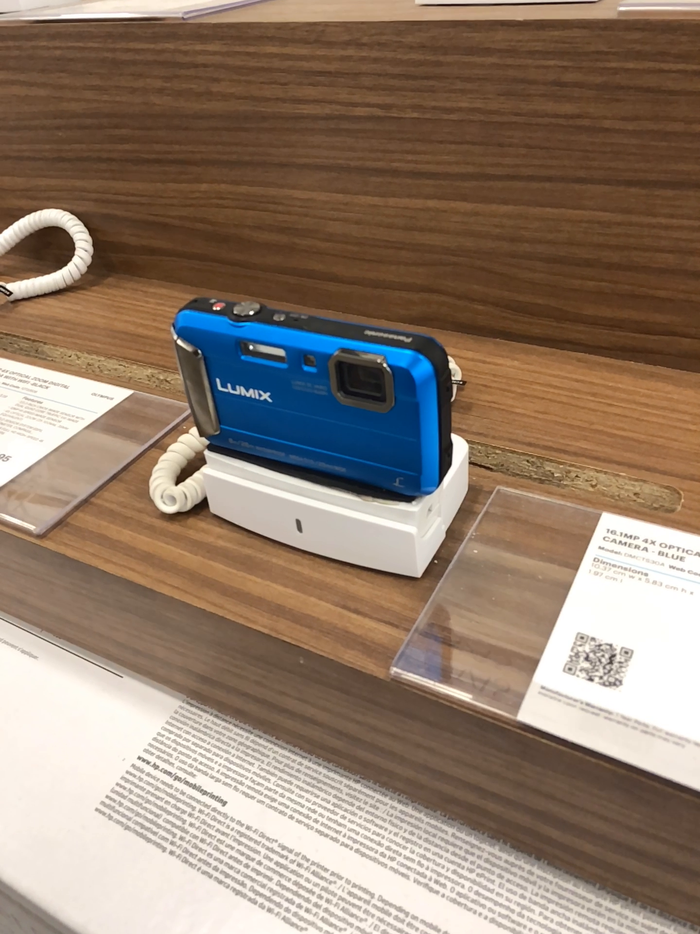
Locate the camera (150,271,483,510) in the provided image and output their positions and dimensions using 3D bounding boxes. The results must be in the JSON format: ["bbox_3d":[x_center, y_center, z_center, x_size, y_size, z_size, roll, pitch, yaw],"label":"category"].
[{"bbox_3d":[-0.011,-0.028,0.263,0.110,0.060,0.020,14,42,25],"label":"camera"}]
